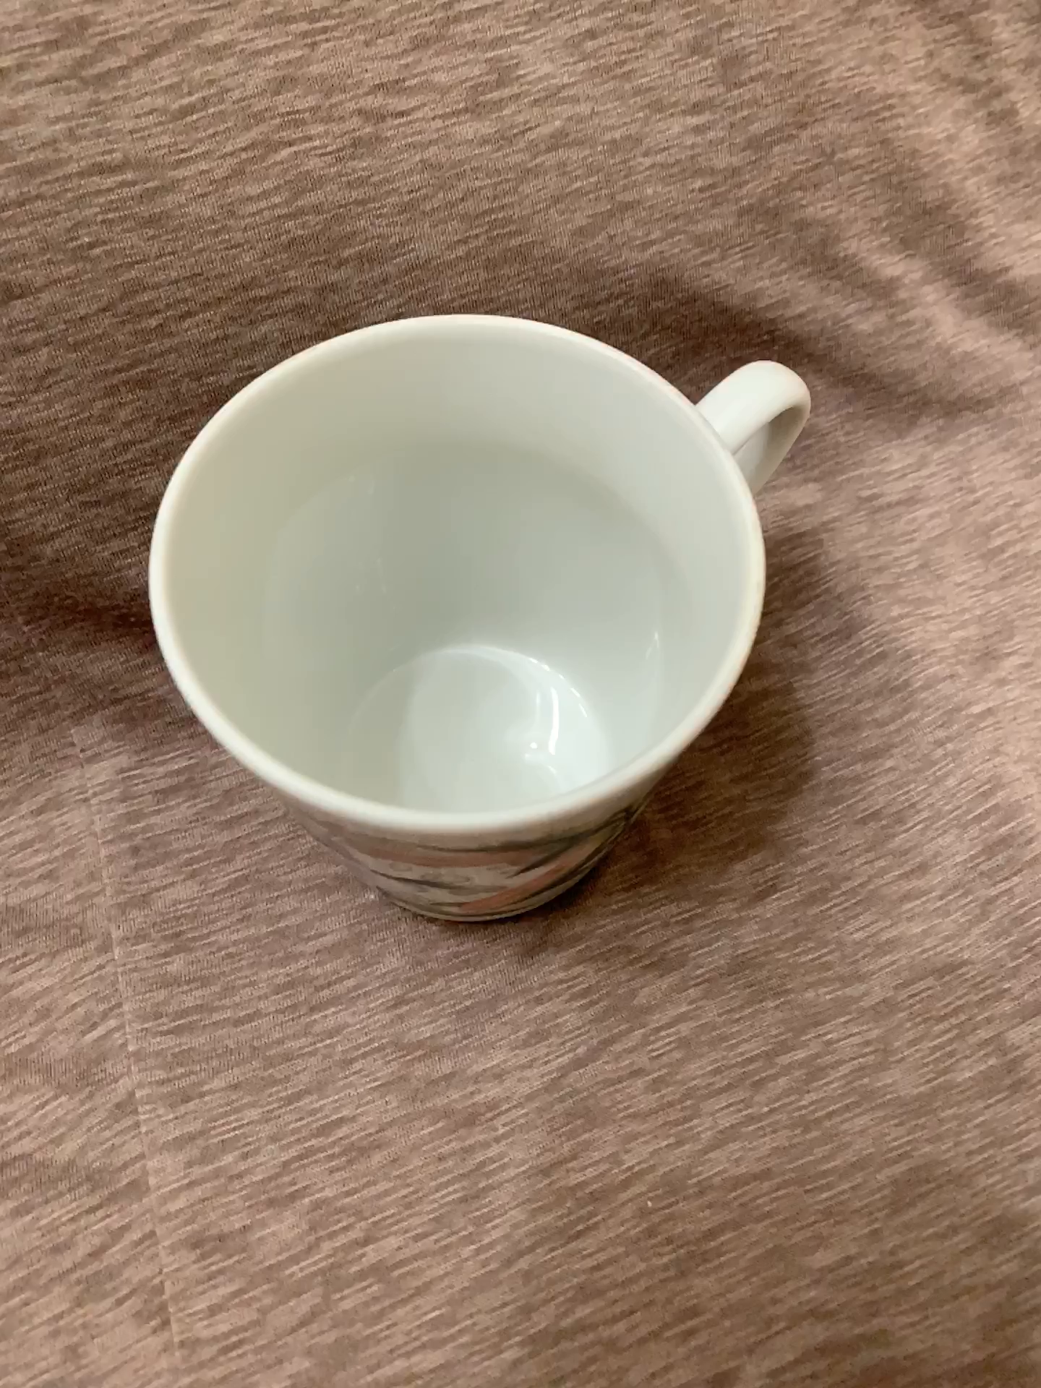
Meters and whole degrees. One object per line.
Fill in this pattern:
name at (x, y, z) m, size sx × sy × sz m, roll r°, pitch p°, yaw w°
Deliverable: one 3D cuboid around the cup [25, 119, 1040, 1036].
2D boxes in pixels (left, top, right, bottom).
cup at (0.004, -0.014, 0.187) m, size 0.119 × 0.089 × 0.084 m, roll -26°, pitch 67°, yaw -10°
